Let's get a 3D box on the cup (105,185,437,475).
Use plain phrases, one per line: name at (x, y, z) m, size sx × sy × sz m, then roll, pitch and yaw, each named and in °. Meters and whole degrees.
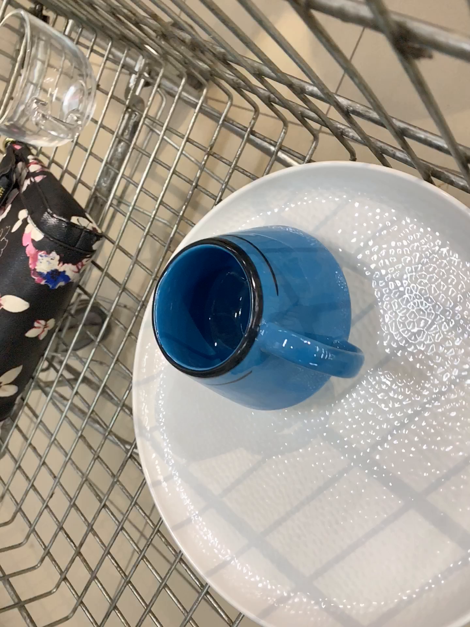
cup at (0.018, 0.001, 0.262) m, size 0.131 × 0.090 × 0.100 m, roll 20°, pitch 98°, yaw 33°
